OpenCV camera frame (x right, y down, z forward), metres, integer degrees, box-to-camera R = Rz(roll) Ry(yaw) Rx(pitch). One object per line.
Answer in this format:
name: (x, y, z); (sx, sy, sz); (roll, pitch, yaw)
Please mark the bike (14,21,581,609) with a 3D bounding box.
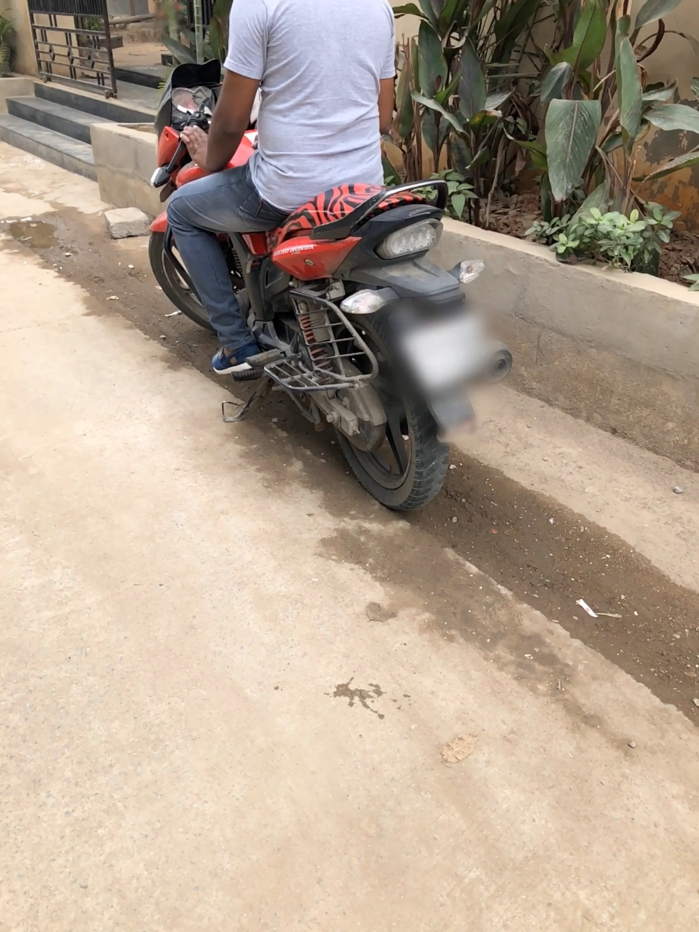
bike: (-0.329, -0.645, 2.401); (0.692, 1.207, 1.792); (-18, 37, -29)
